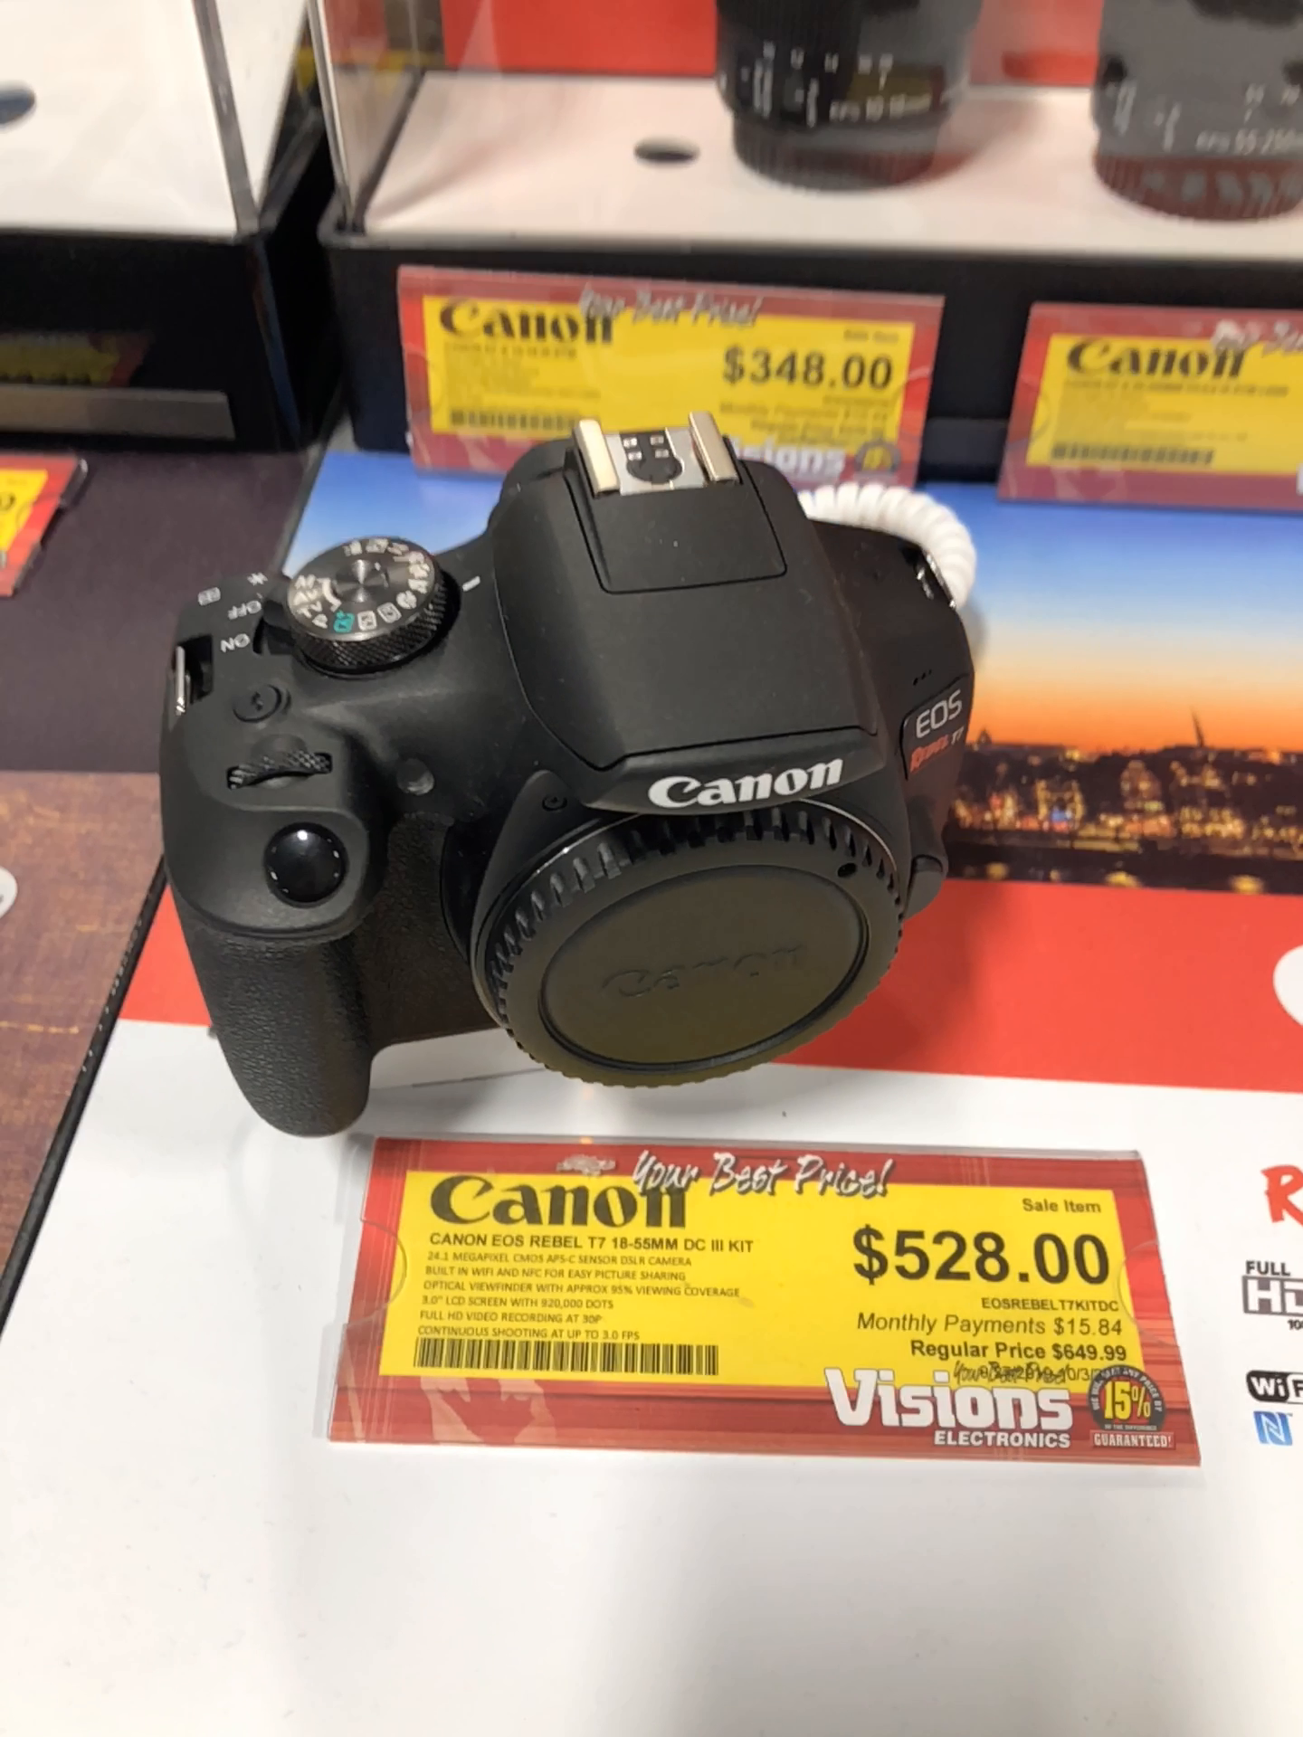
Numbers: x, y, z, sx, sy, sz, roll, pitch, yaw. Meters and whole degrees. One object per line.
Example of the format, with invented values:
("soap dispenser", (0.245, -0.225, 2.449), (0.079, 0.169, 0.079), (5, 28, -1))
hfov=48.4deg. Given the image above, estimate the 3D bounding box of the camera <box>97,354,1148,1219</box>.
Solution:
("camera", (-0.009, -0.014, 0.234), (0.130, 0.090, 0.080), (-10, 49, -9))
